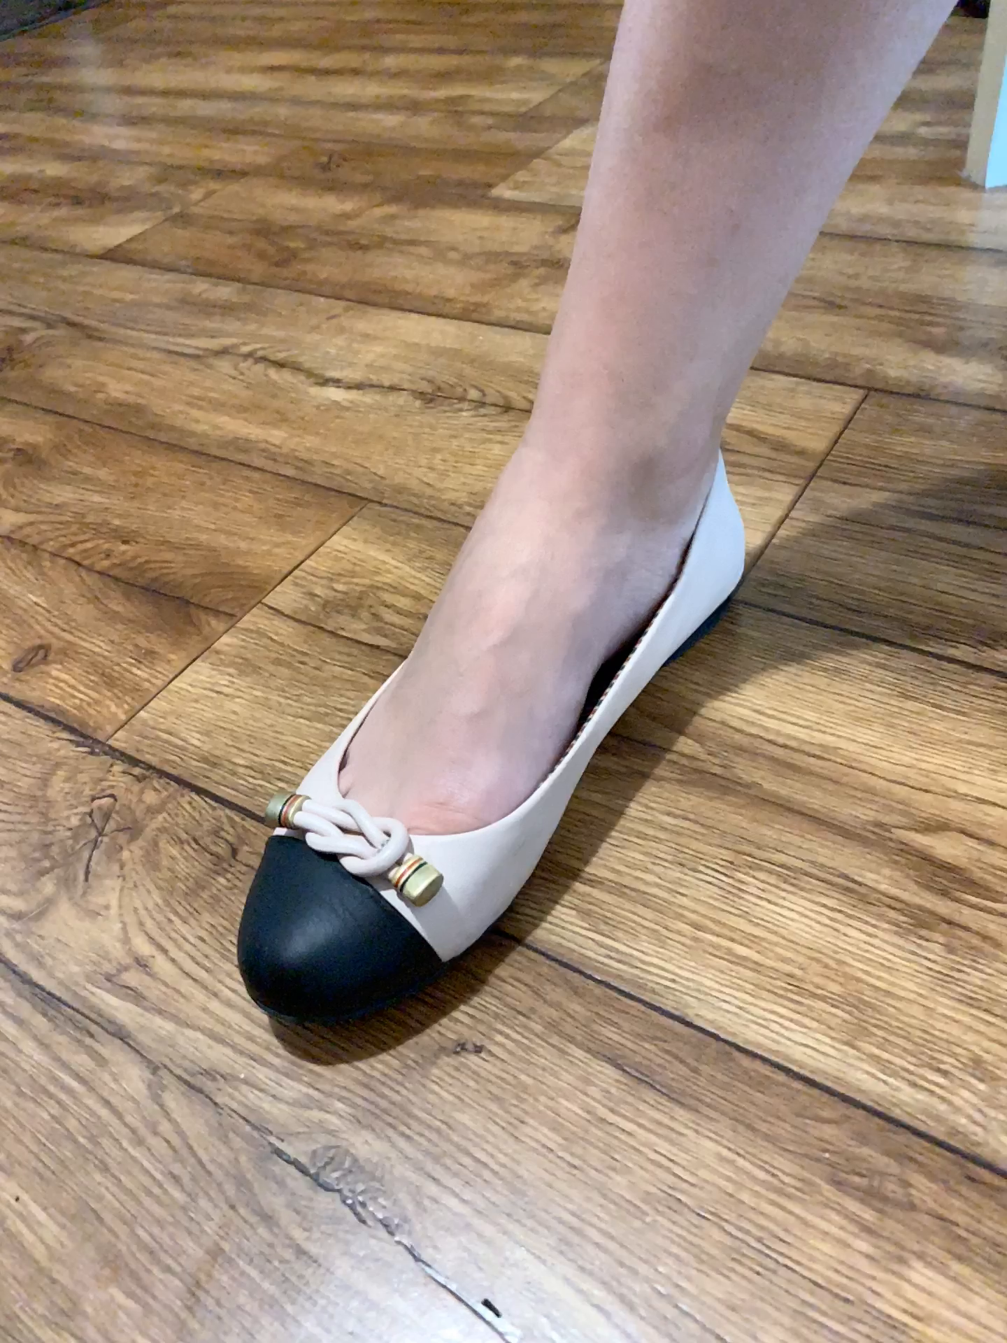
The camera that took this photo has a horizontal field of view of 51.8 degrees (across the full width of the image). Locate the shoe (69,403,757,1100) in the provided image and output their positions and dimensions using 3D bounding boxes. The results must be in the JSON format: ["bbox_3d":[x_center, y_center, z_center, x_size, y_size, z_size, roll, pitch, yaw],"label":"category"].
[{"bbox_3d":[-0.009,0.004,0.320,0.084,0.059,0.221,21,51,29],"label":"shoe"}]
